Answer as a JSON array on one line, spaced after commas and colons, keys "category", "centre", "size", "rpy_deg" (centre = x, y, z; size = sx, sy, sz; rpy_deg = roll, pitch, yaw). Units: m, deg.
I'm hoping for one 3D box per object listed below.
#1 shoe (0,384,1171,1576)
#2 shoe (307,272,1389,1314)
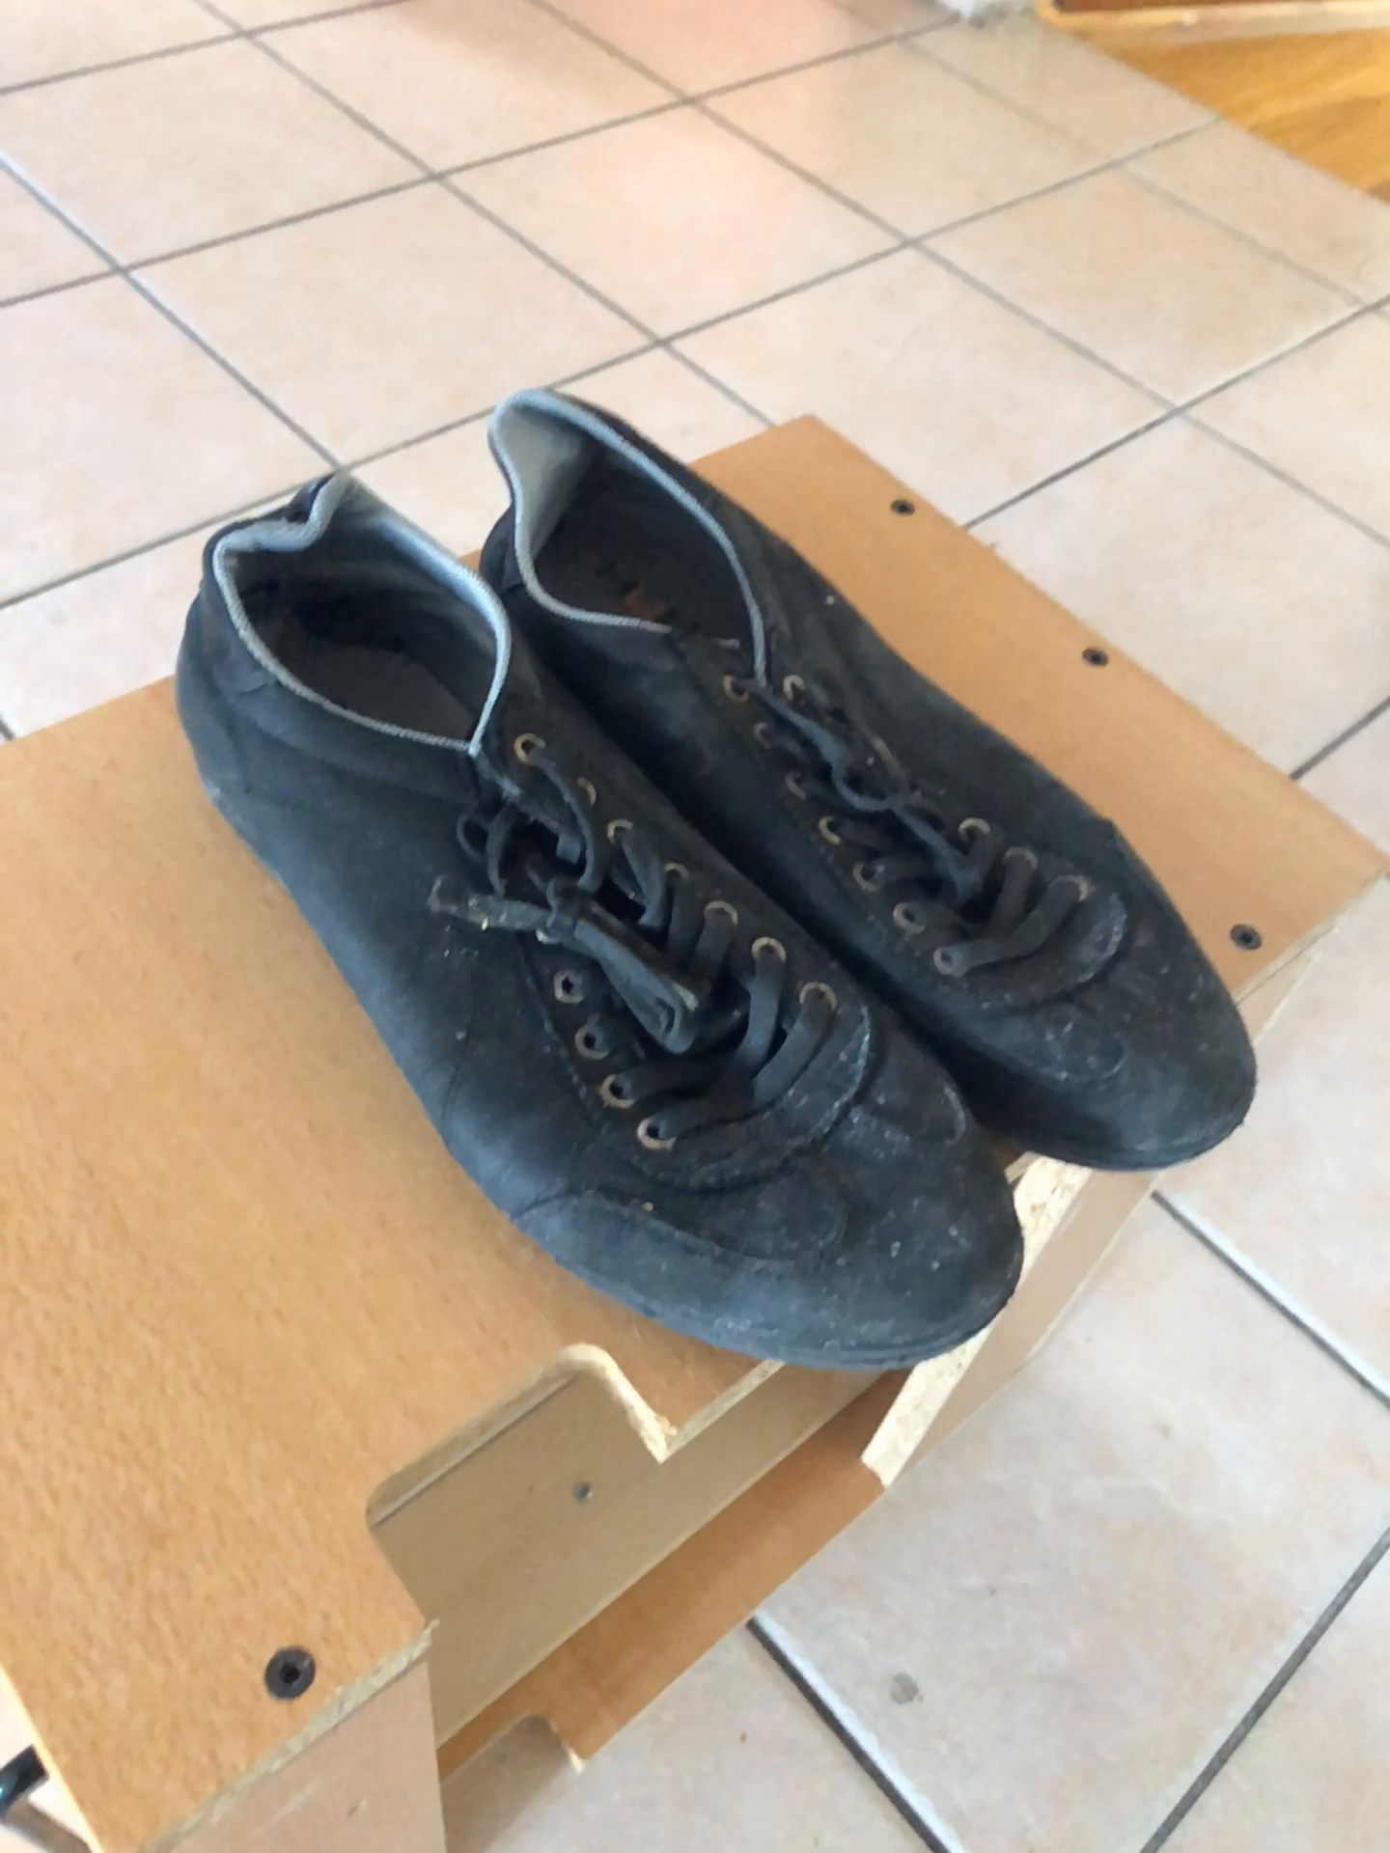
[{"category": "shoe", "centre": [-0.048, -0.006, 0.385], "size": [0.110, 0.089, 0.301], "rpy_deg": [-34, 64, -30]}, {"category": "shoe", "centre": [0.032, -0.055, 0.431], "size": [0.110, 0.089, 0.311], "rpy_deg": [-34, 64, -30]}]
